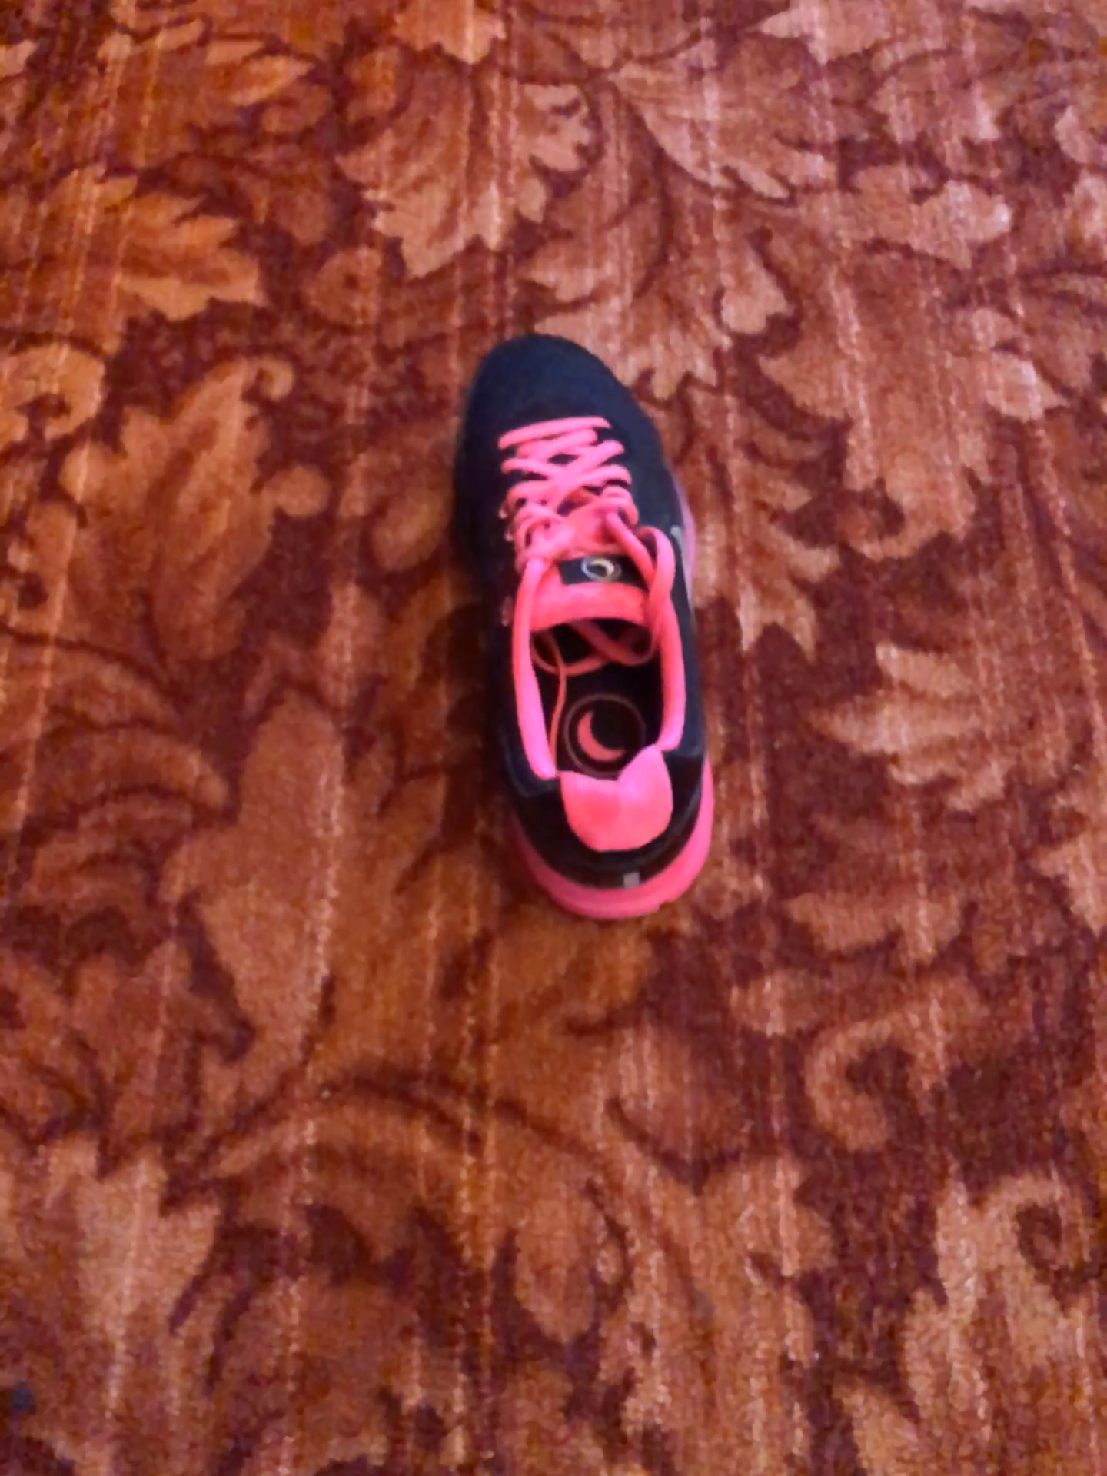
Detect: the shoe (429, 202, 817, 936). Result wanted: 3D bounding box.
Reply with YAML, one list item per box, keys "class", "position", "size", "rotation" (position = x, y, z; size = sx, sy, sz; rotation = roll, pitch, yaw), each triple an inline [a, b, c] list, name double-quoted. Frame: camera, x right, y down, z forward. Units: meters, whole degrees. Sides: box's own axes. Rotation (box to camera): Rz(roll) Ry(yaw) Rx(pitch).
- class: "shoe"
  position: [0.019, -0.062, 0.462]
  size: [0.100, 0.110, 0.240]
  rotation: [-7, 67, 1]
